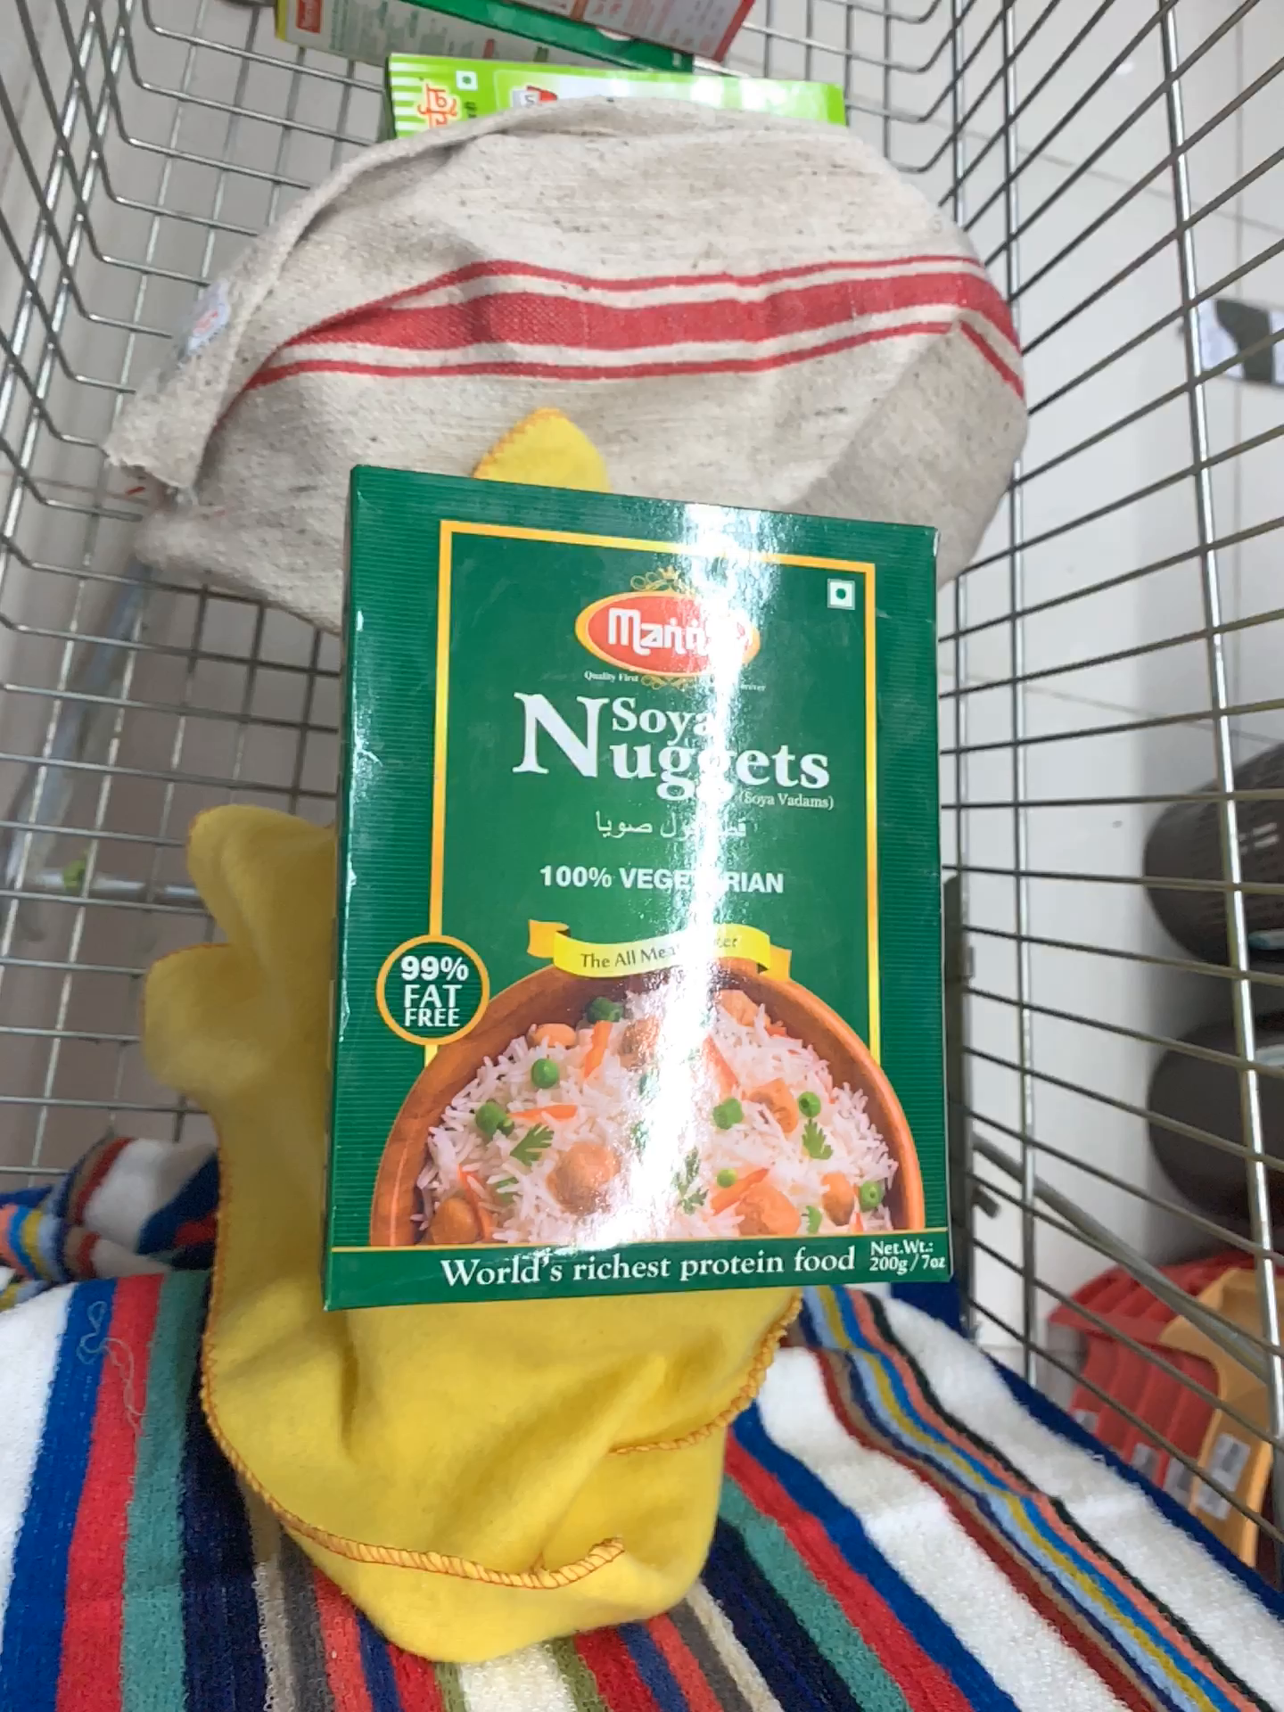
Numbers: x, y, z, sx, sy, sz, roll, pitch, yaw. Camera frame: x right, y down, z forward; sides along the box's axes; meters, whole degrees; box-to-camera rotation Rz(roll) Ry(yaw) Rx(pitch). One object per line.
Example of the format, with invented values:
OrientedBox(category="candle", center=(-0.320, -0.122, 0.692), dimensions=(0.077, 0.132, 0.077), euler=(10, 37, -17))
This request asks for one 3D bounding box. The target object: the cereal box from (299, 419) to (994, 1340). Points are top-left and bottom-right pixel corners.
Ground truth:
OrientedBox(category="cereal box", center=(0.001, 0.008, 0.335), dimensions=(0.160, 0.060, 0.200), euler=(3, 83, -14))
